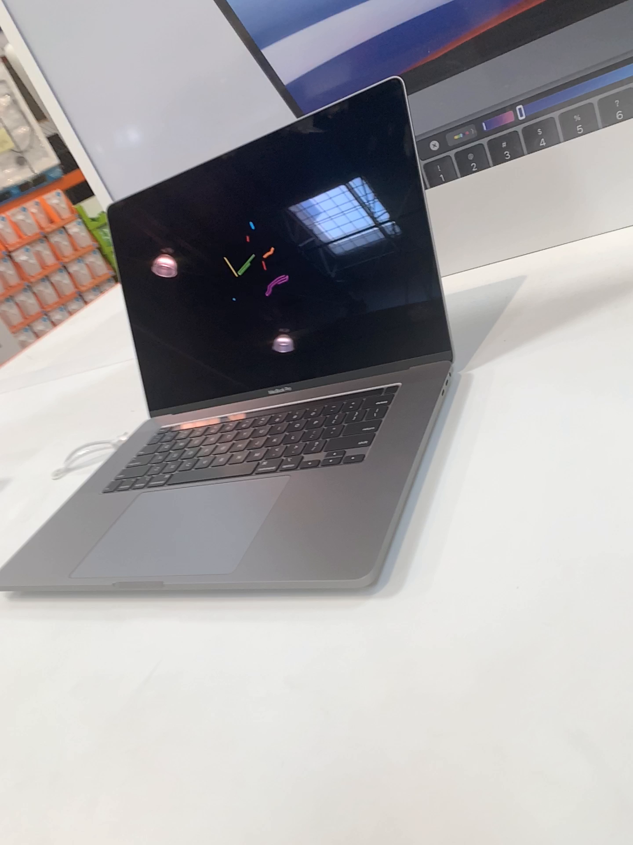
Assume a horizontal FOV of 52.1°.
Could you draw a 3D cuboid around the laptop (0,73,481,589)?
[{"bbox_3d":[-0.093,-0.074,0.519,0.341,0.203,0.346,-10,30,31],"label":"laptop"}]
